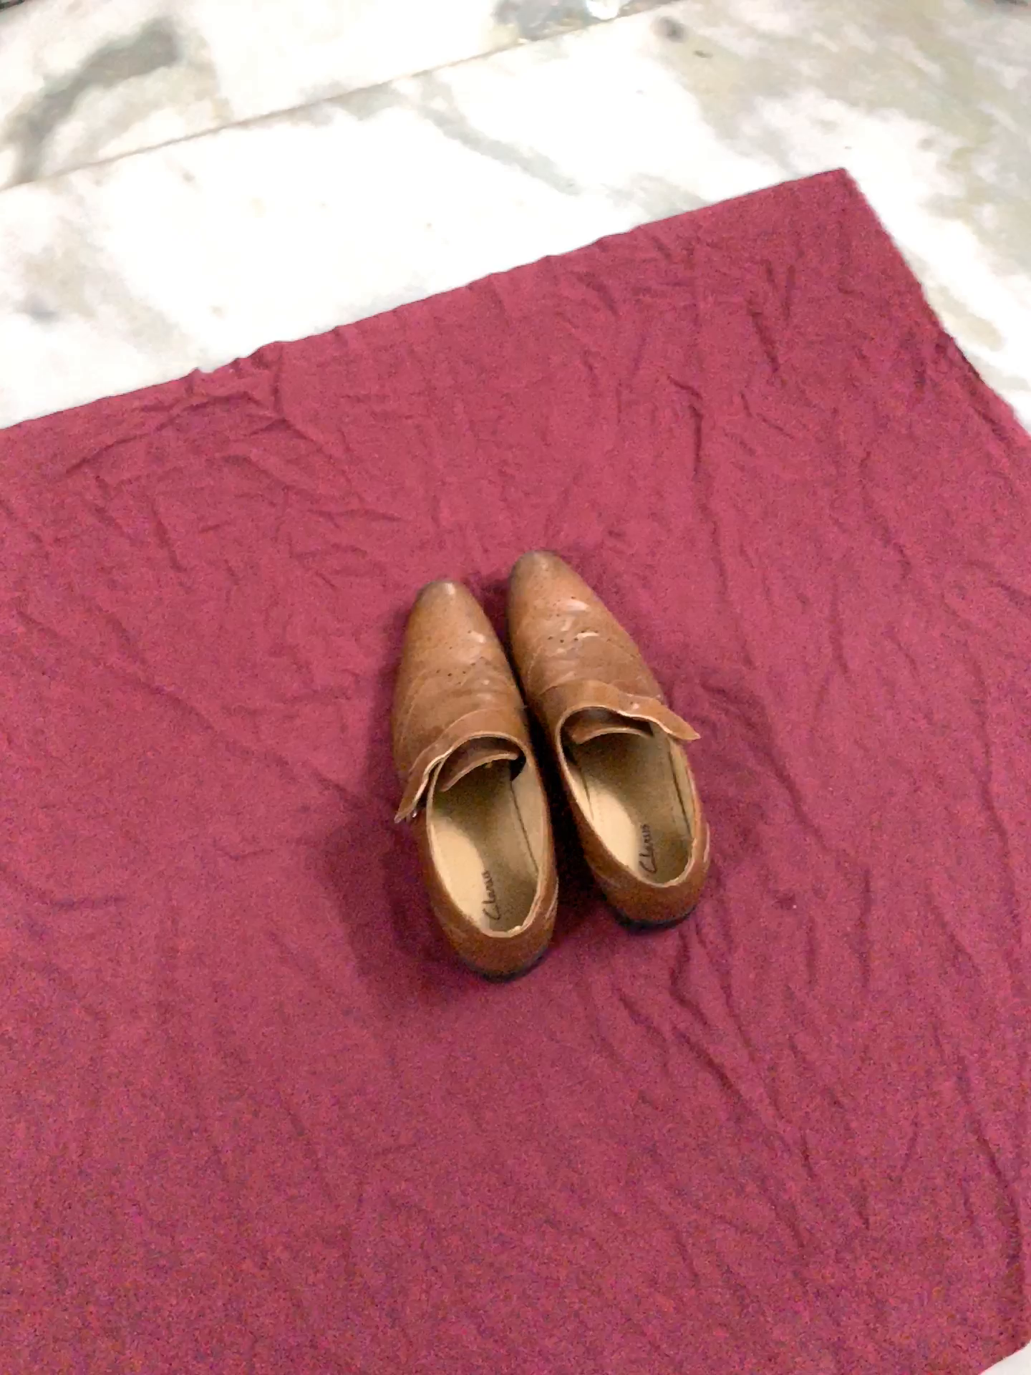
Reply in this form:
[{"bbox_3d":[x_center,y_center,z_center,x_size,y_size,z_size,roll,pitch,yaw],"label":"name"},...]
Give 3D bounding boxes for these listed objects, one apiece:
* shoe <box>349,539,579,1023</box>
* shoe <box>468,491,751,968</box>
[{"bbox_3d":[-0.040,0.058,0.733,0.100,0.090,0.311,-10,64,-4],"label":"shoe"},{"bbox_3d":[0.053,0.022,0.722,0.100,0.090,0.301,-13,65,-6],"label":"shoe"}]
